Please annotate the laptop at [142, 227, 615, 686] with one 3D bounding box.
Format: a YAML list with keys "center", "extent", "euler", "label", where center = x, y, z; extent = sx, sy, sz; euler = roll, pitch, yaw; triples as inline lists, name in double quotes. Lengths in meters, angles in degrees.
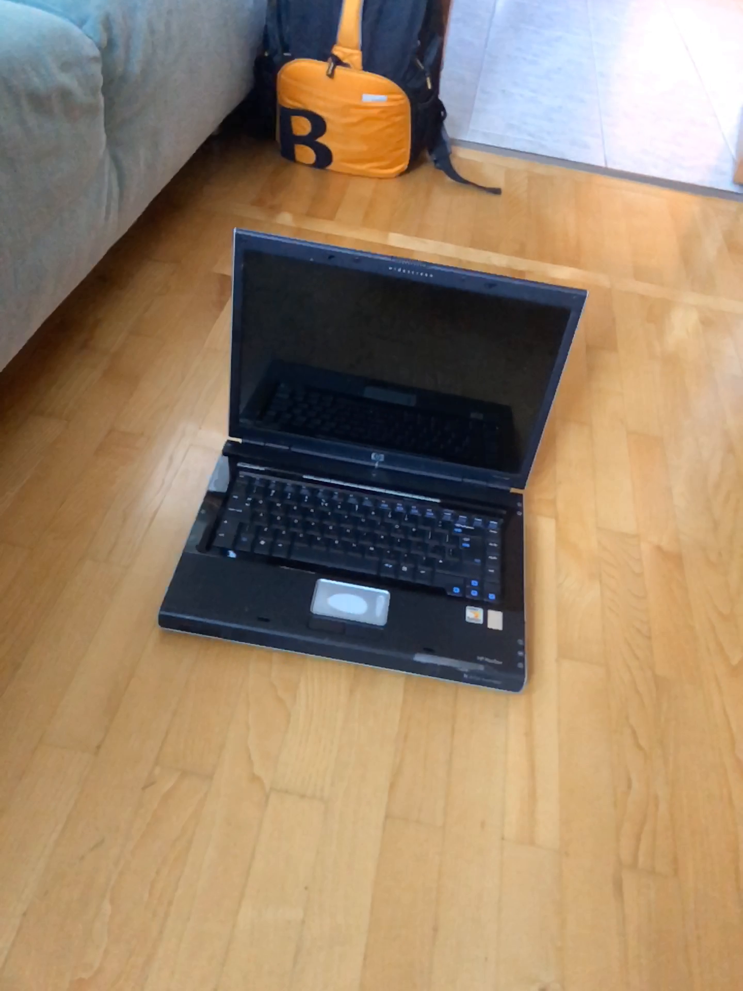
- center: [0.009, -0.045, 0.813]
  extent: [0.363, 0.254, 0.308]
  euler: [10, 44, 0]
  label: "laptop"
